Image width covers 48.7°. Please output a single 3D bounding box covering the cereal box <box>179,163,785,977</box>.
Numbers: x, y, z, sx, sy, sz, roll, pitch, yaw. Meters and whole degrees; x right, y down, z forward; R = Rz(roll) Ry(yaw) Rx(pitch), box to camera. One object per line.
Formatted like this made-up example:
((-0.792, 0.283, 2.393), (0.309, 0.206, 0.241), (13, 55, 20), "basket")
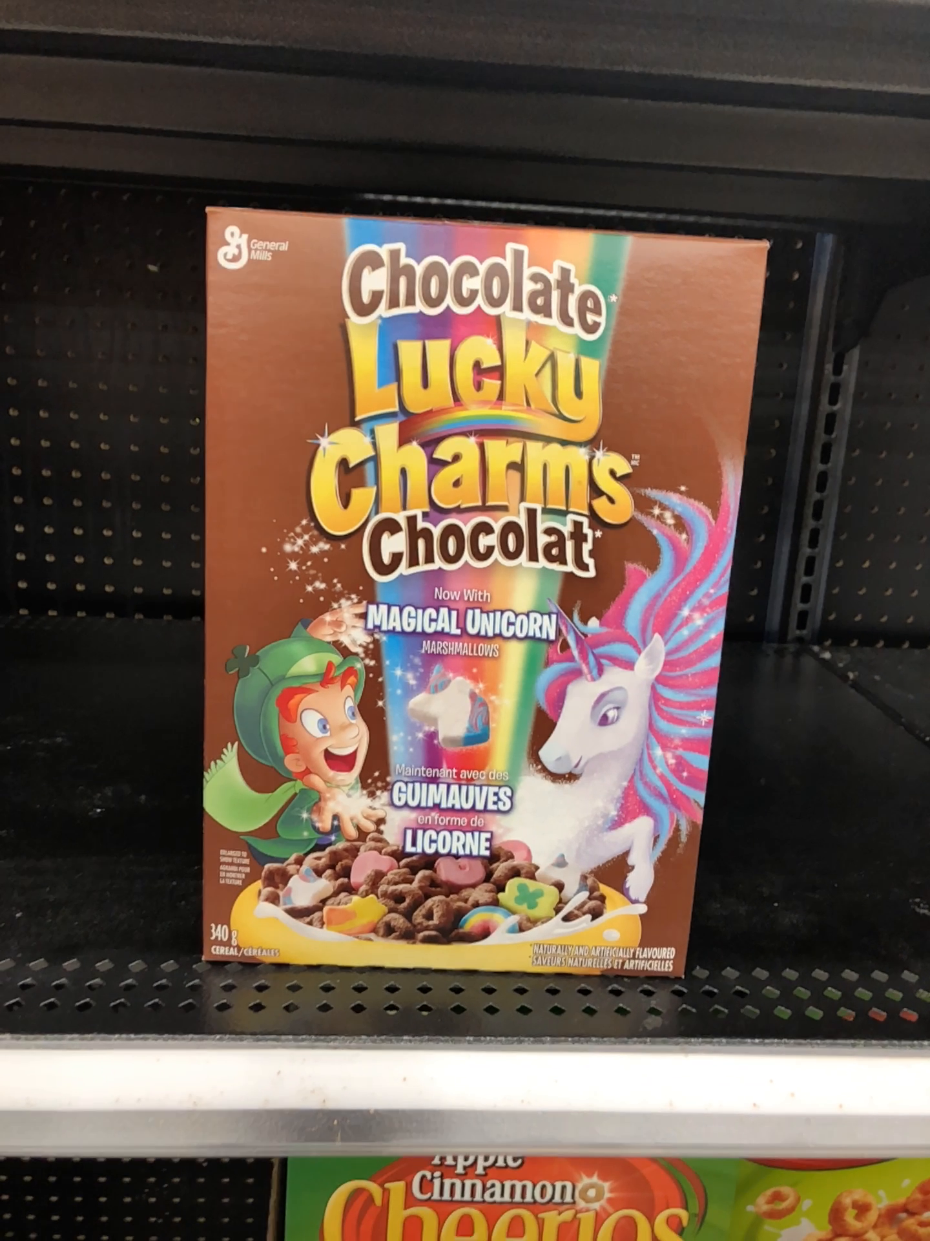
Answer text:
((-0.001, -0.010, 0.395), (0.200, 0.289, 0.050), (3, 13, -1), "cereal box")
